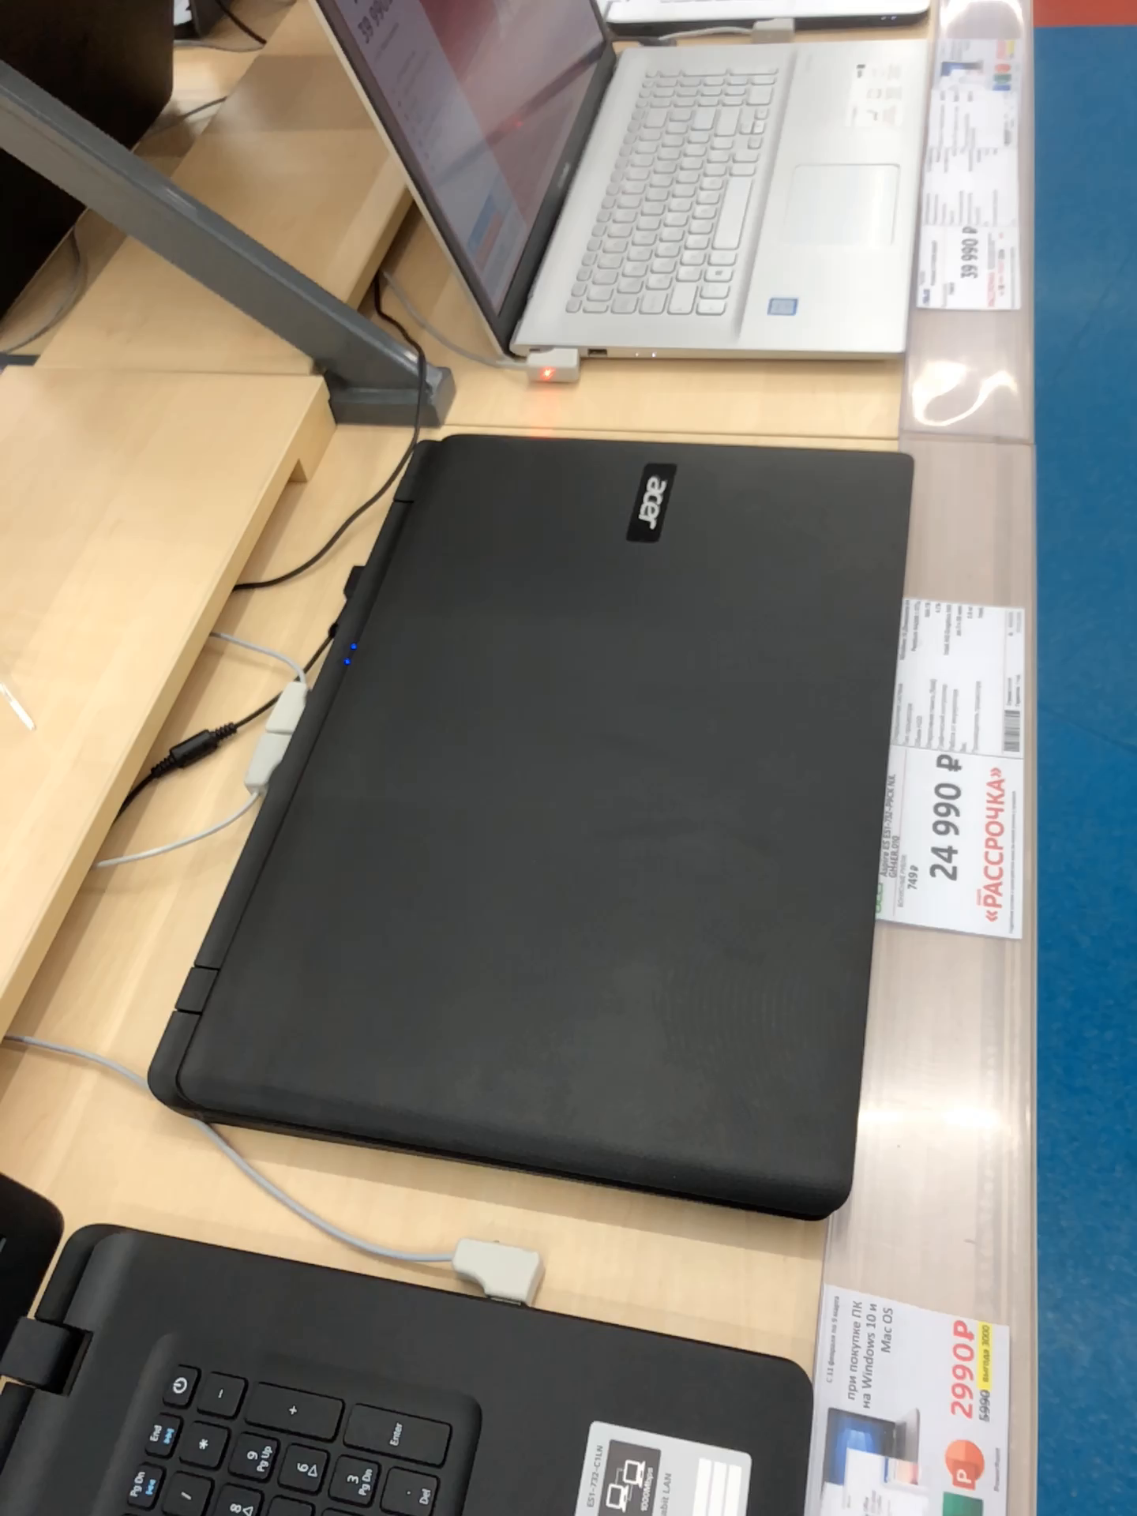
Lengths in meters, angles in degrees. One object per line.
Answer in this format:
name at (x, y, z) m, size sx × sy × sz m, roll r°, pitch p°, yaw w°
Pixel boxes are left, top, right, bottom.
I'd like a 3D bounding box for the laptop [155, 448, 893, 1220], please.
laptop at (0.006, -0.010, 0.602) m, size 0.277 × 0.005 × 0.411 m, roll 5°, pitch 53°, yaw 12°
